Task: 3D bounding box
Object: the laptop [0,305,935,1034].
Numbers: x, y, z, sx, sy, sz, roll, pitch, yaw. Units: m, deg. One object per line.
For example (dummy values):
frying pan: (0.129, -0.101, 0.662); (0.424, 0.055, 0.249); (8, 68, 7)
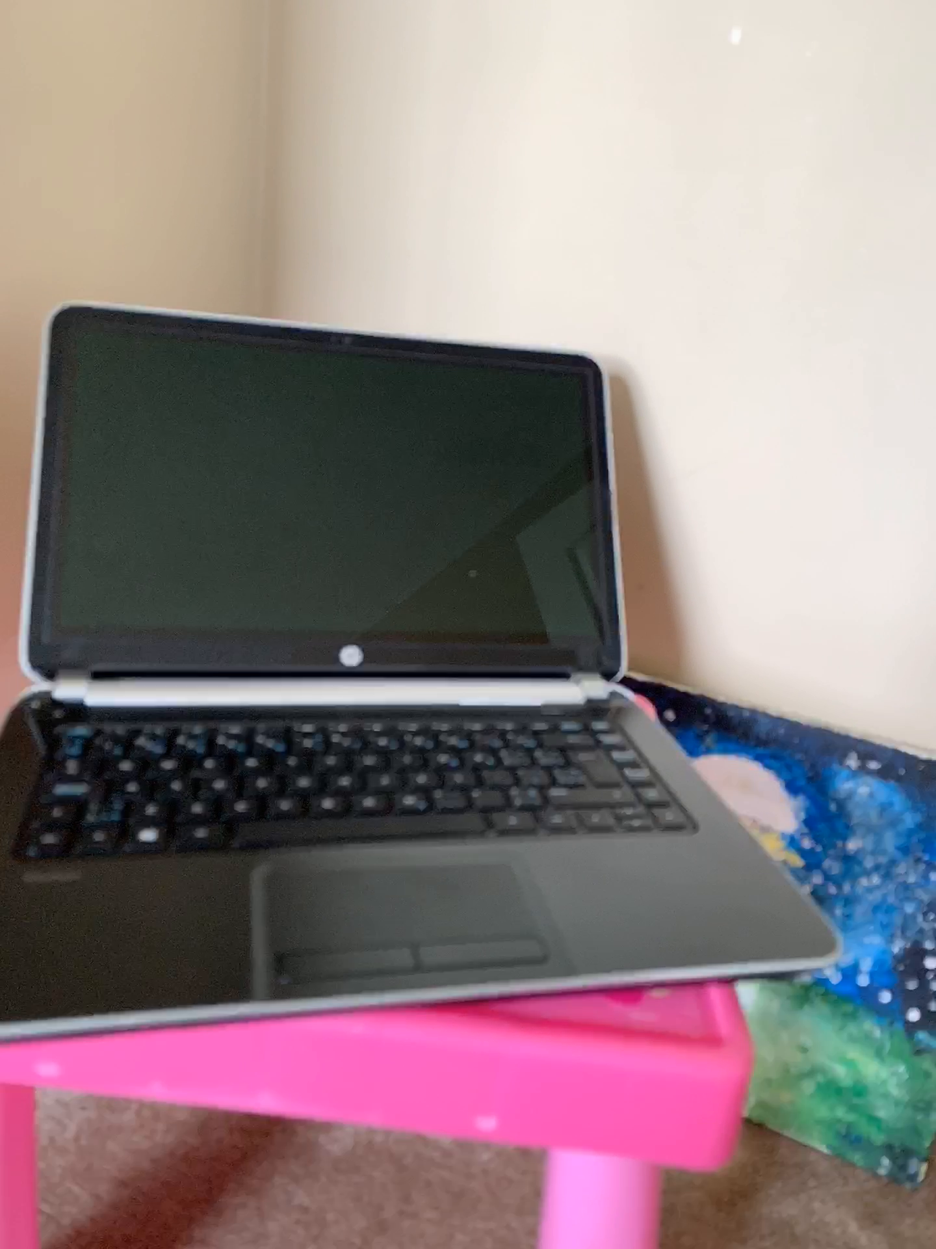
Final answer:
laptop: (-0.035, -0.018, 0.382); (0.274, 0.161, 0.272); (1, 23, -15)
